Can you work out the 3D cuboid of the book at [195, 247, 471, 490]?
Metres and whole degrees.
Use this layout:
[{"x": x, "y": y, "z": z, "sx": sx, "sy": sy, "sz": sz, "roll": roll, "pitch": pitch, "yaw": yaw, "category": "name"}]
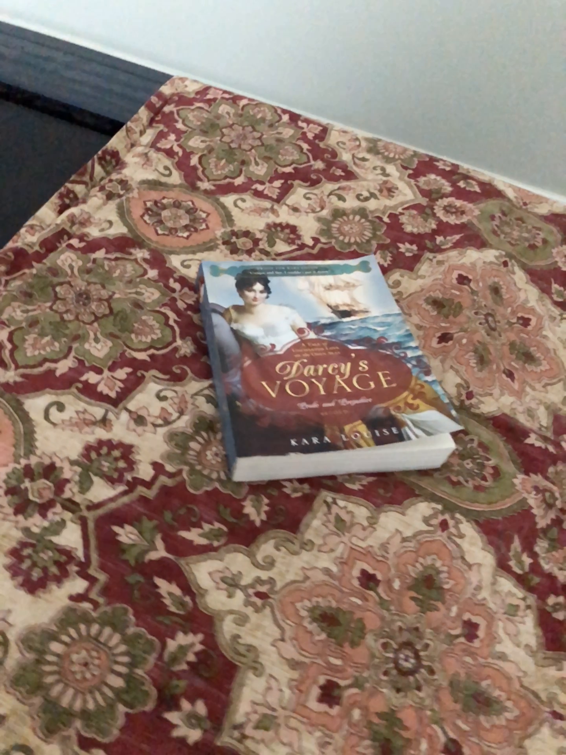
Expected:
[{"x": 0.024, "y": -0.019, "z": 0.458, "sx": 0.154, "sy": 0.034, "sz": 0.201, "roll": -2, "pitch": 49, "yaw": -14, "category": "book"}]
